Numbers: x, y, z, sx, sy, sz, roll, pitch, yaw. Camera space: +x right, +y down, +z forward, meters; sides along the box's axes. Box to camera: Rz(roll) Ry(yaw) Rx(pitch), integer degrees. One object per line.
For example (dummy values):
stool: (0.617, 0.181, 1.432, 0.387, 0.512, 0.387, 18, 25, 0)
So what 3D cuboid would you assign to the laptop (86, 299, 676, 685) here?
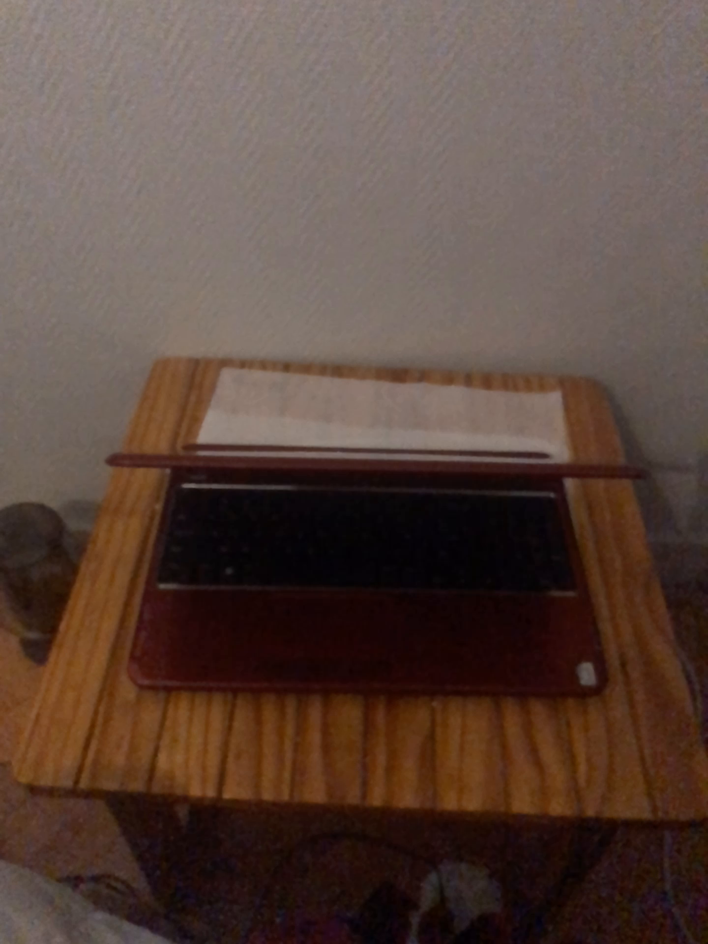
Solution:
laptop: (0.021, 0.014, 0.643, 0.372, 0.168, 0.254, 2, 45, -4)
